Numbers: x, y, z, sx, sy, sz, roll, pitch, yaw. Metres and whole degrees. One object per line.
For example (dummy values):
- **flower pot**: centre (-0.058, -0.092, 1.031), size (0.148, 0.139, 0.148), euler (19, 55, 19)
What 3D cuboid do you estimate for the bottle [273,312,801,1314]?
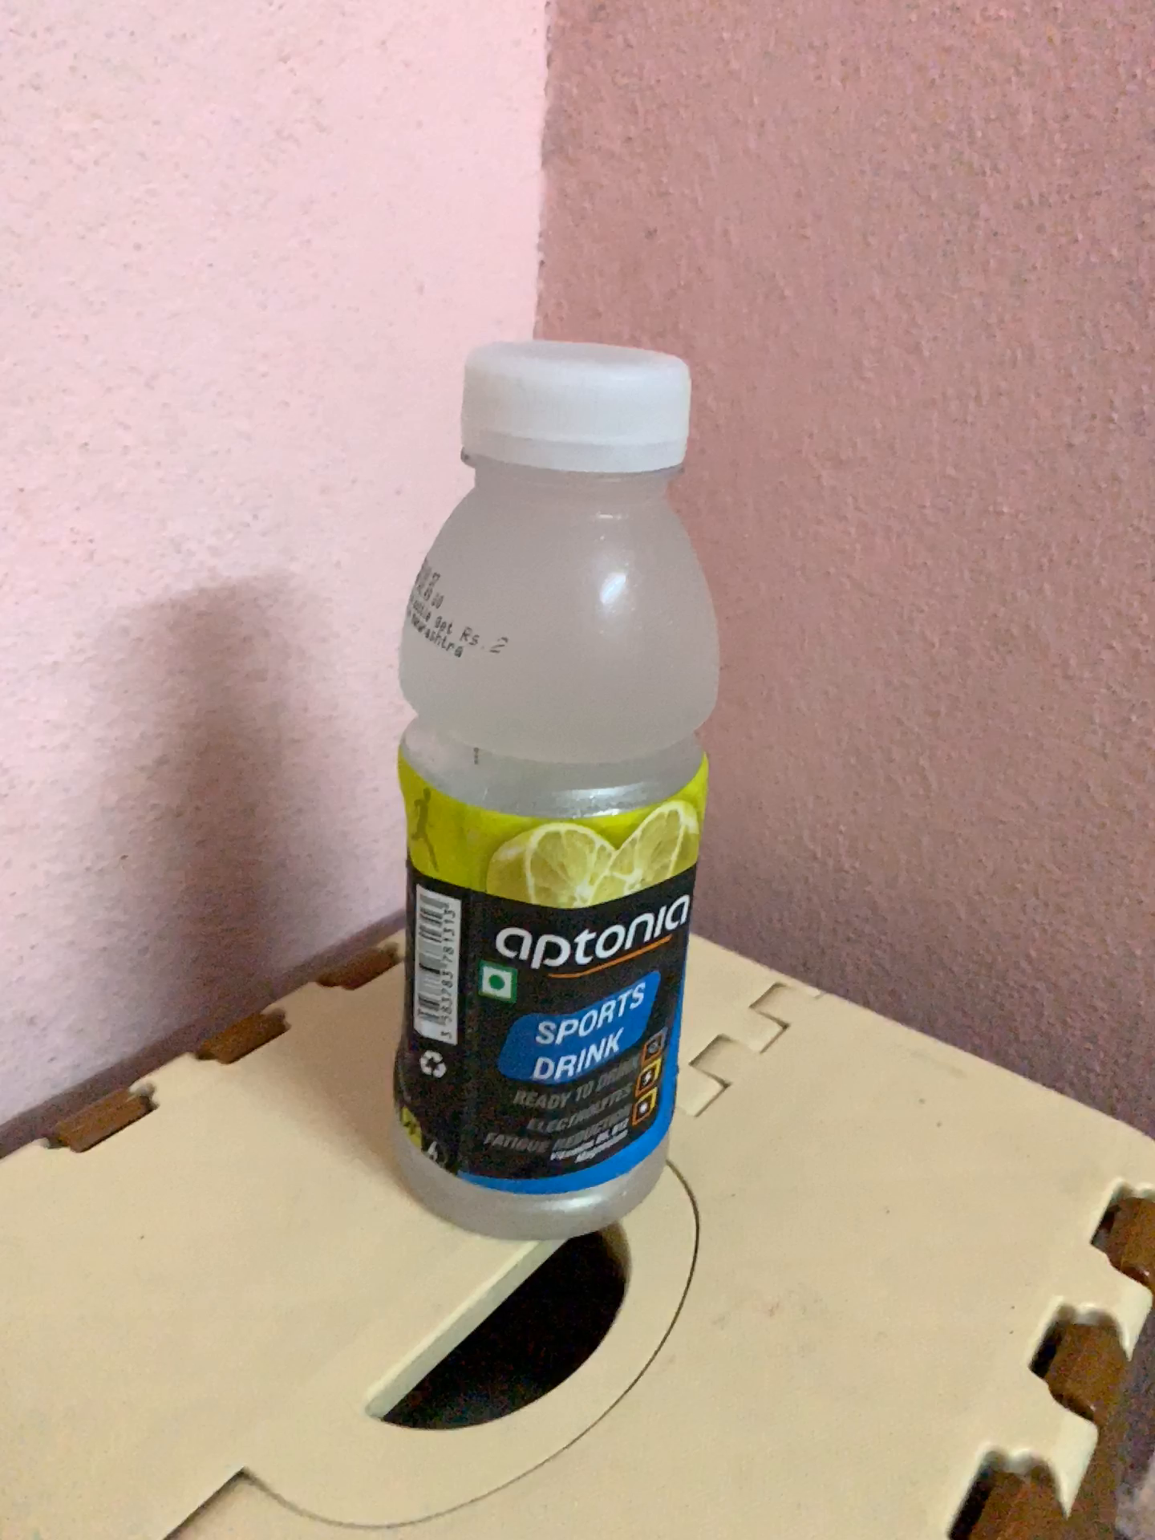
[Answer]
- **bottle**: centre (-0.014, 0.008, 0.237), size (0.070, 0.179, 0.060), euler (-9, 27, -25)
